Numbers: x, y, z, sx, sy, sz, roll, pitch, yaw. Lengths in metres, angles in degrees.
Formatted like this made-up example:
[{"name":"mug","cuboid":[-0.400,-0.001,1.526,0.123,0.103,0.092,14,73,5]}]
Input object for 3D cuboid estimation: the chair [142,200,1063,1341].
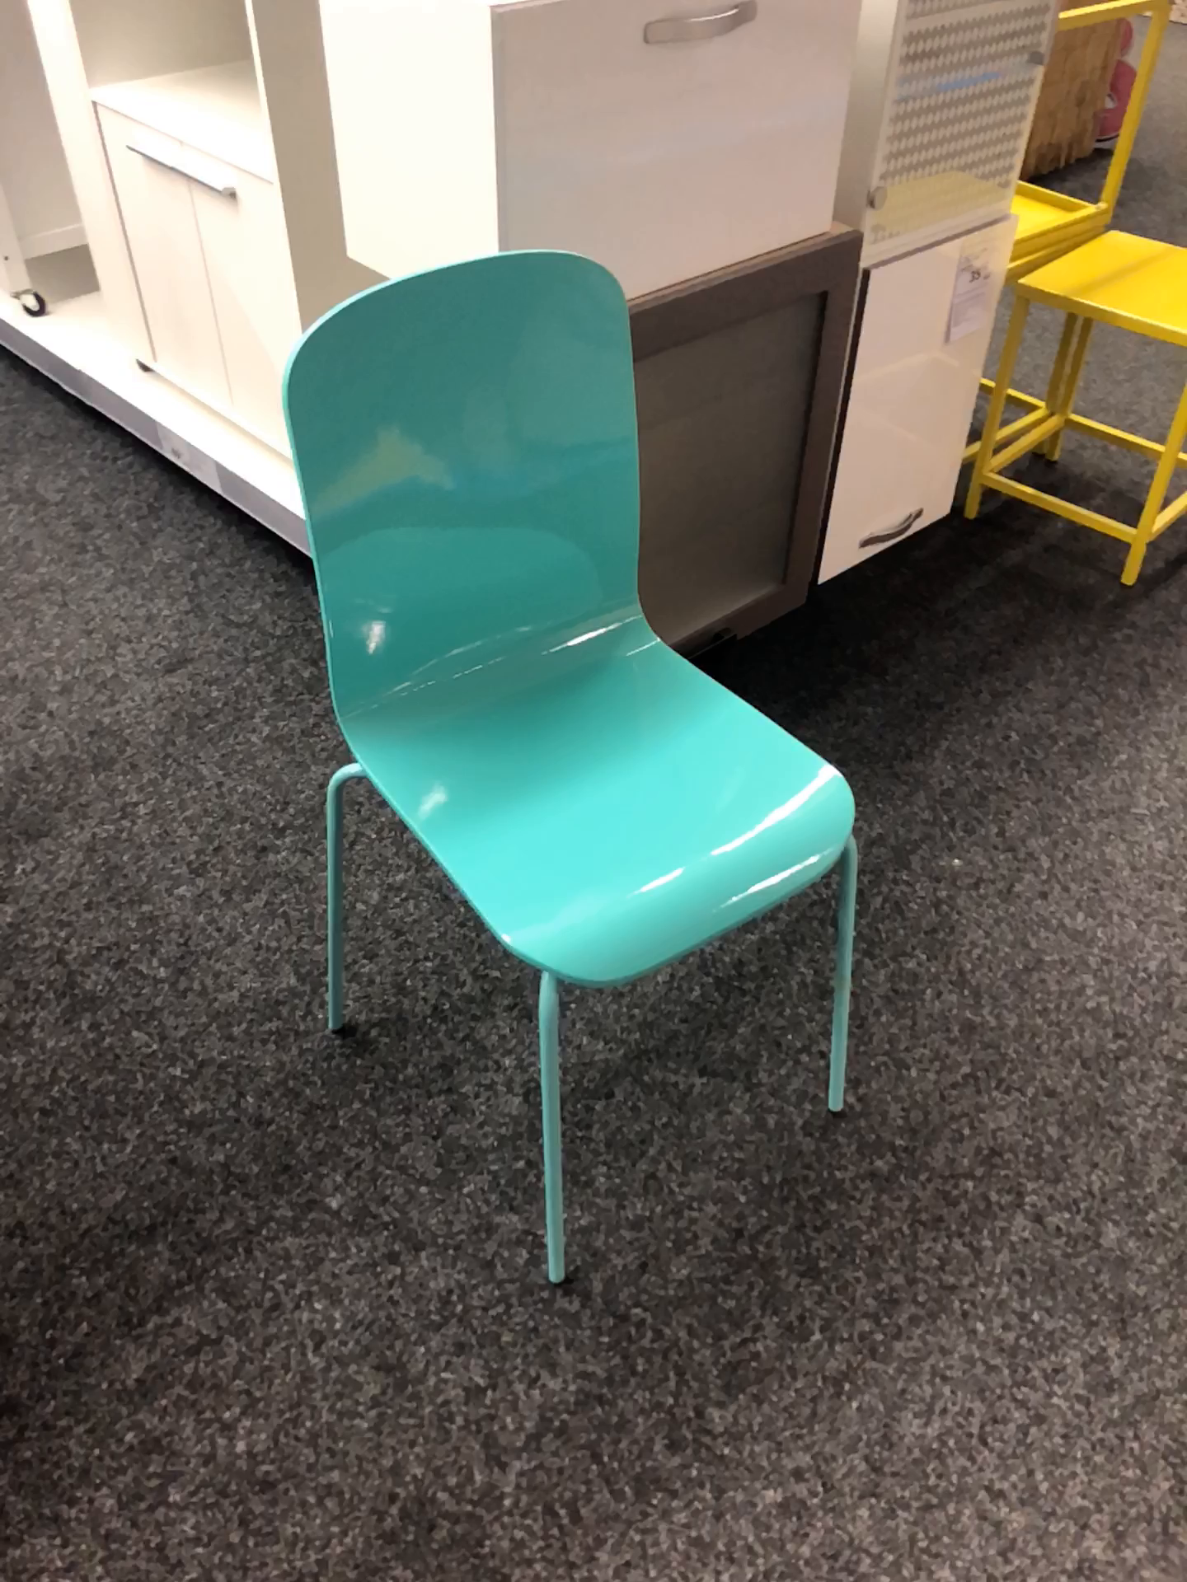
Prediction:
[{"name":"chair","cuboid":[-0.014,-0.007,1.253,0.492,0.865,0.501,-24,48,-25]}]
